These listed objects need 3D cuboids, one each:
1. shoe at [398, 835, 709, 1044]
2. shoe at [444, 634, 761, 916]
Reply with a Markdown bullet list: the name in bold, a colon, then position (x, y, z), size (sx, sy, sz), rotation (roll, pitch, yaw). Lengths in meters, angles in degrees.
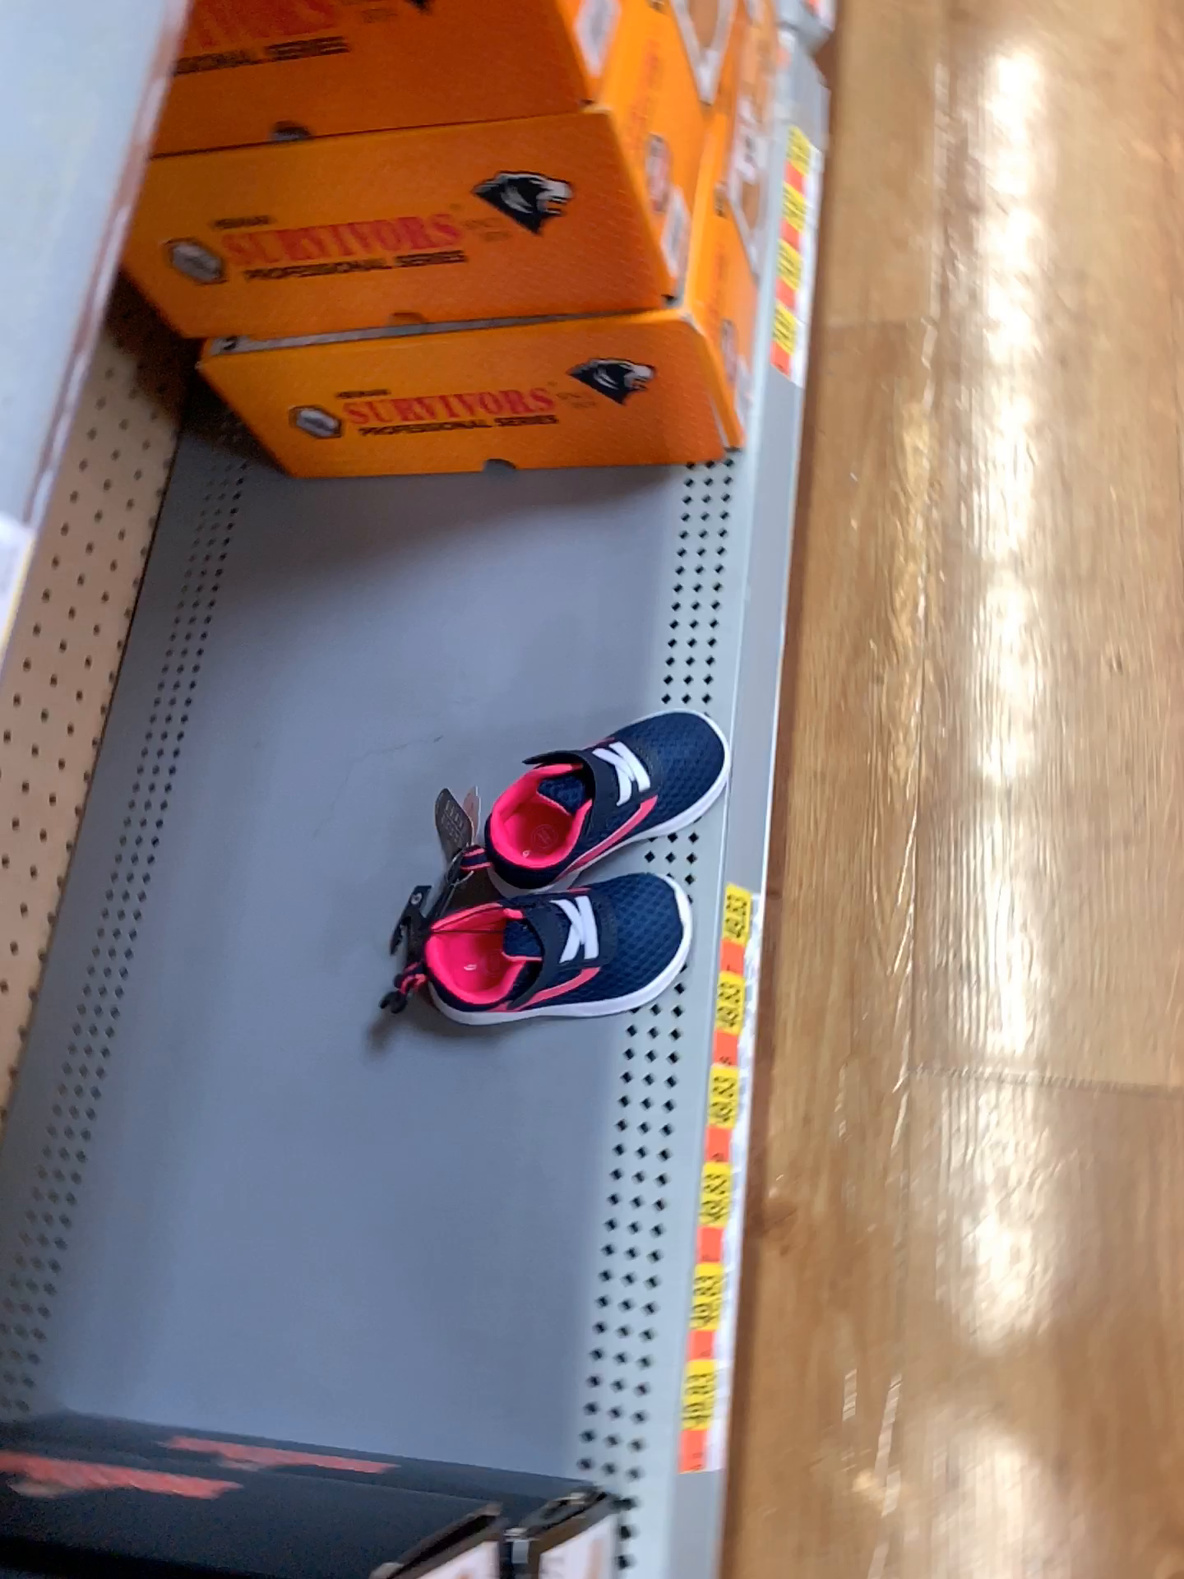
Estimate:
- **shoe**: position (-0.020, 0.082, 0.641), size (0.145, 0.064, 0.073), rotation (-12, 67, 12)
- **shoe**: position (0.007, -0.006, 0.665), size (0.145, 0.064, 0.073), rotation (-31, 65, 4)
